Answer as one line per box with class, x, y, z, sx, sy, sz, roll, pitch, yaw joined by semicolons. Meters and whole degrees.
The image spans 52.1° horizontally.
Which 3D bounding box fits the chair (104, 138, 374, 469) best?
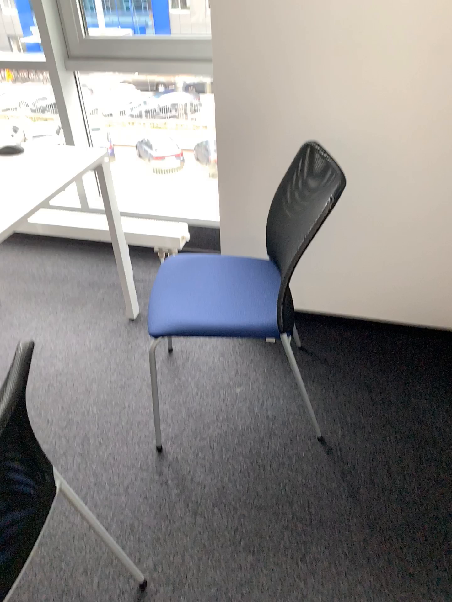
chair;0.028;0.023;1.489;0.590;0.895;0.533;-3;37;-2
